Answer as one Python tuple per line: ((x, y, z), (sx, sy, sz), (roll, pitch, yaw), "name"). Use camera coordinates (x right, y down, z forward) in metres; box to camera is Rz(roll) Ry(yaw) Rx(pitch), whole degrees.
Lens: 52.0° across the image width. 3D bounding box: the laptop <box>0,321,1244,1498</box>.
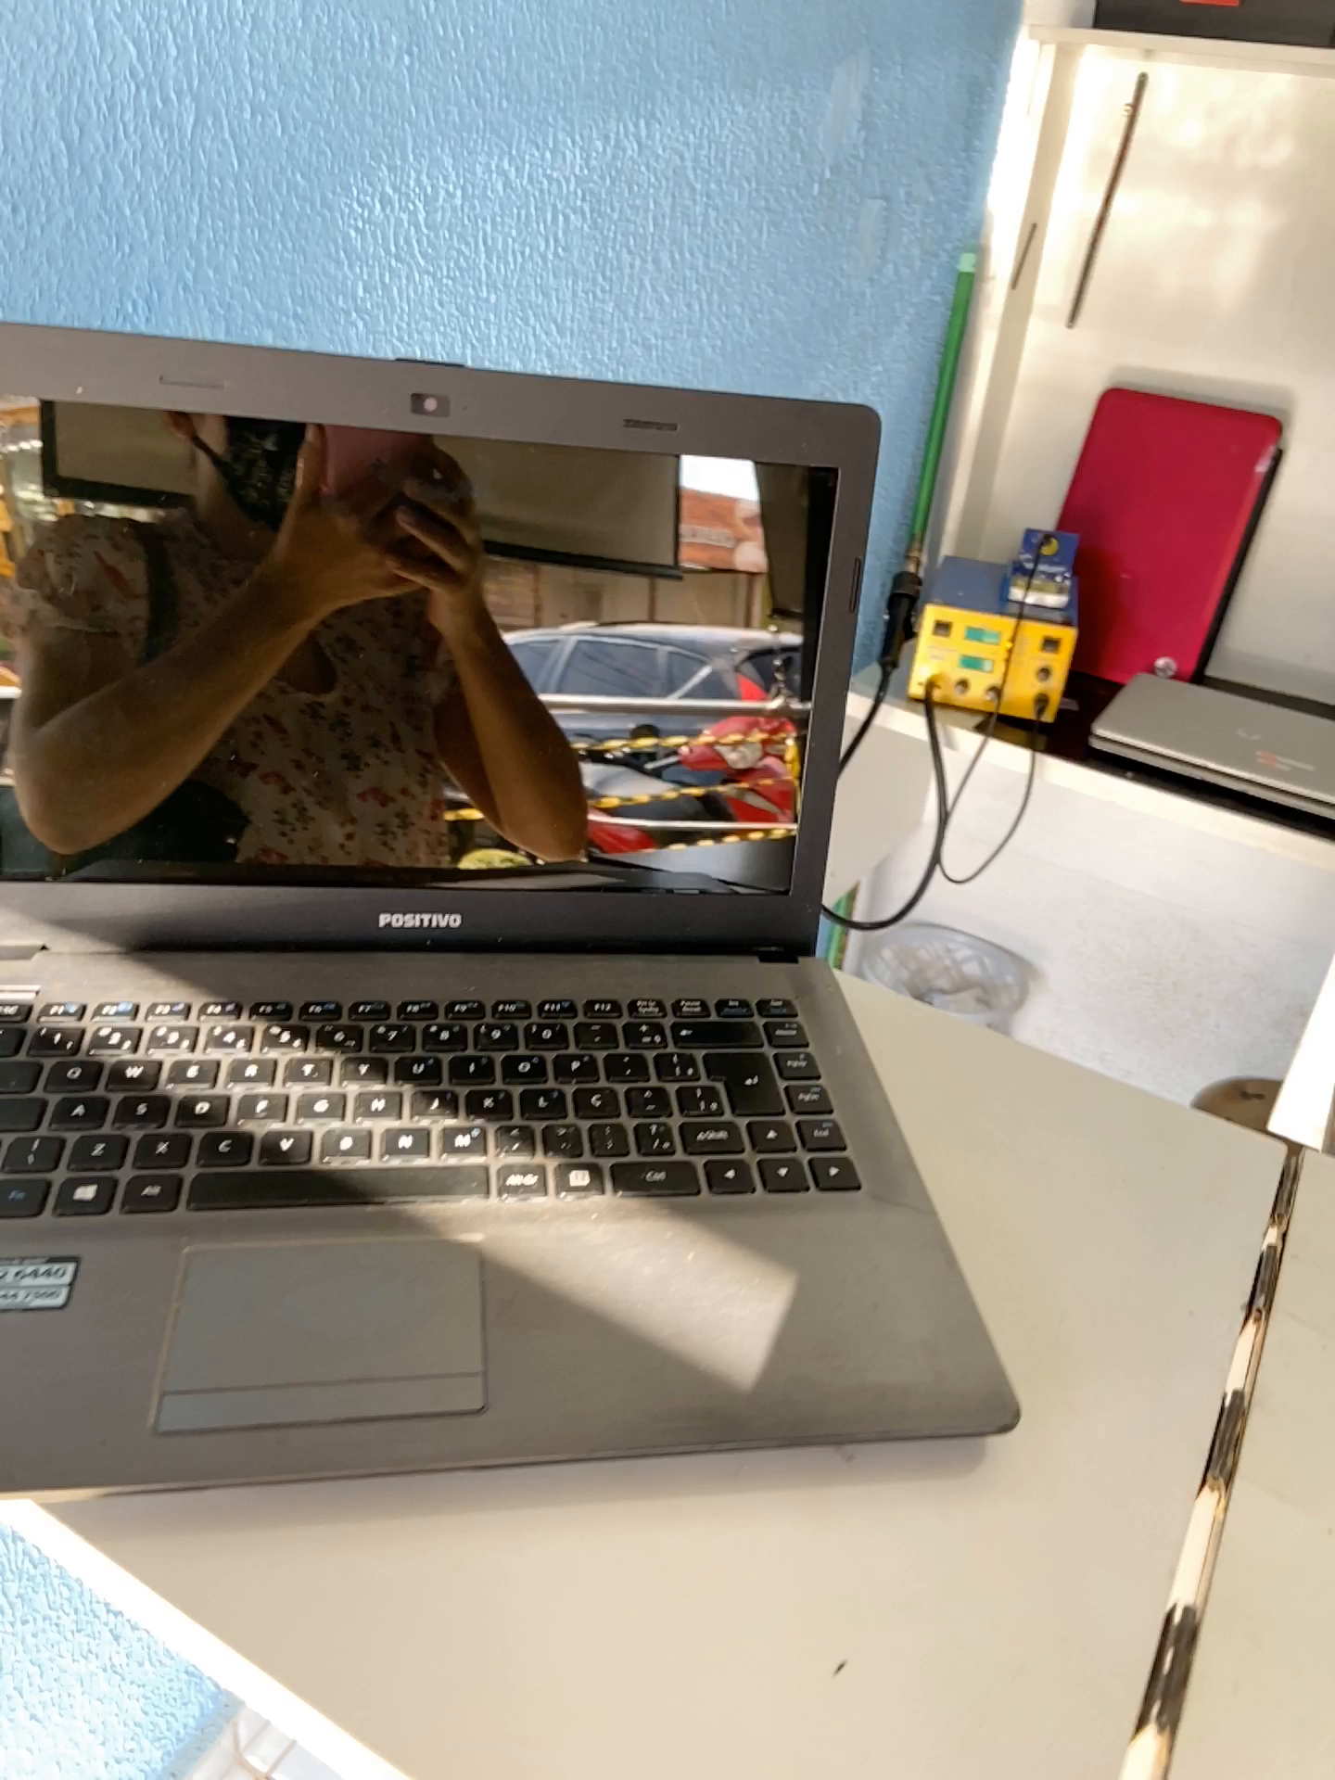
((-0.075, -0.022, 0.421), (0.334, 0.211, 0.284), (1, 30, -10), "laptop")
